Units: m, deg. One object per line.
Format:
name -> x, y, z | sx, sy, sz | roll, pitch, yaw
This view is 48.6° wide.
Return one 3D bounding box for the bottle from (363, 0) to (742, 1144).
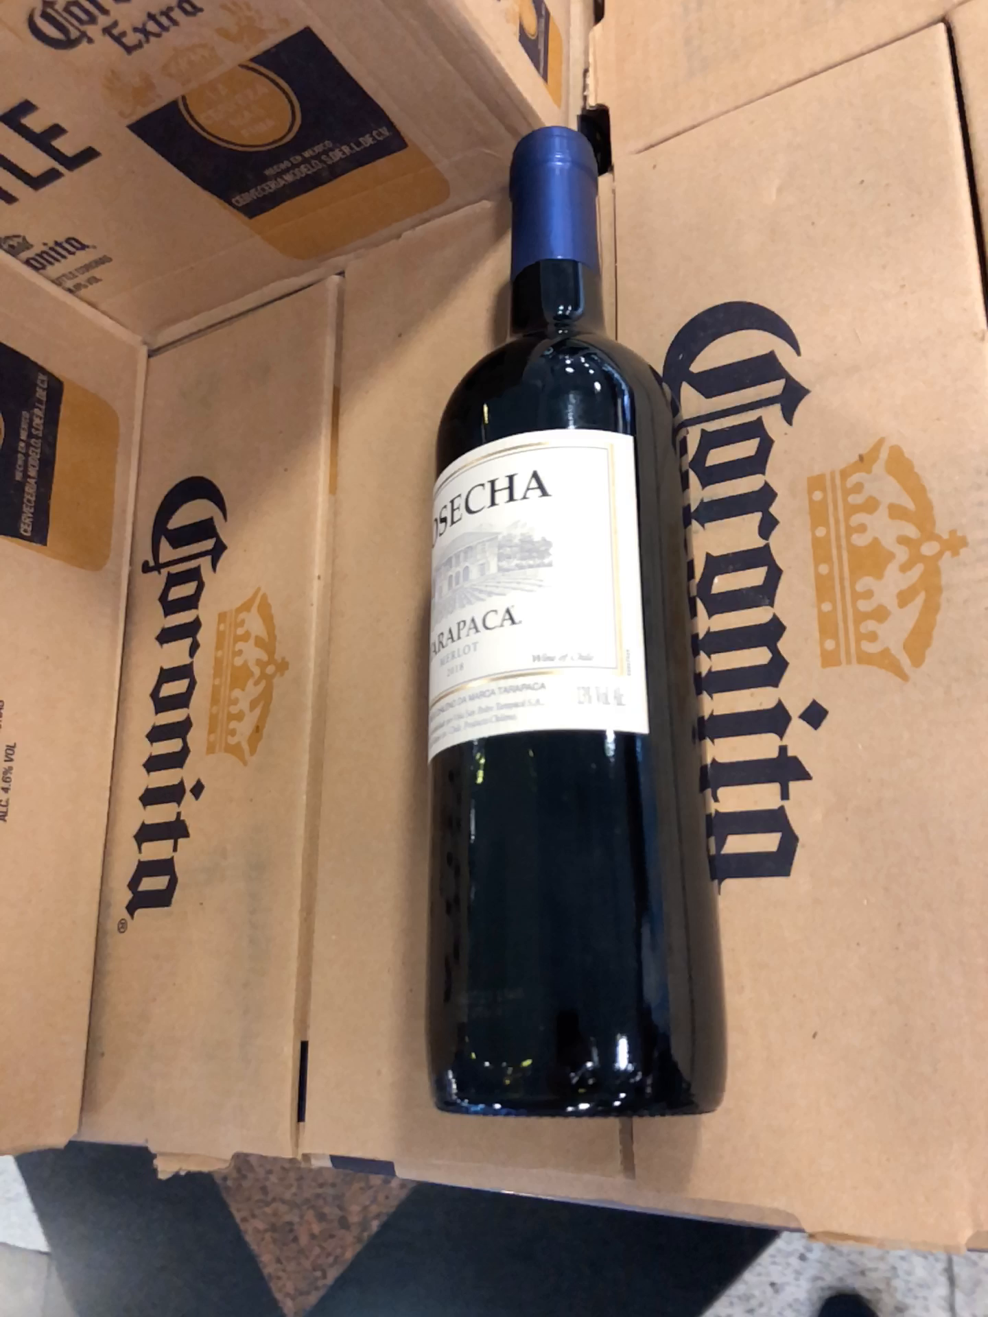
bottle -> 0.017, -0.045, 0.309 | 0.070, 0.060, 0.331 | -8, 65, 19
